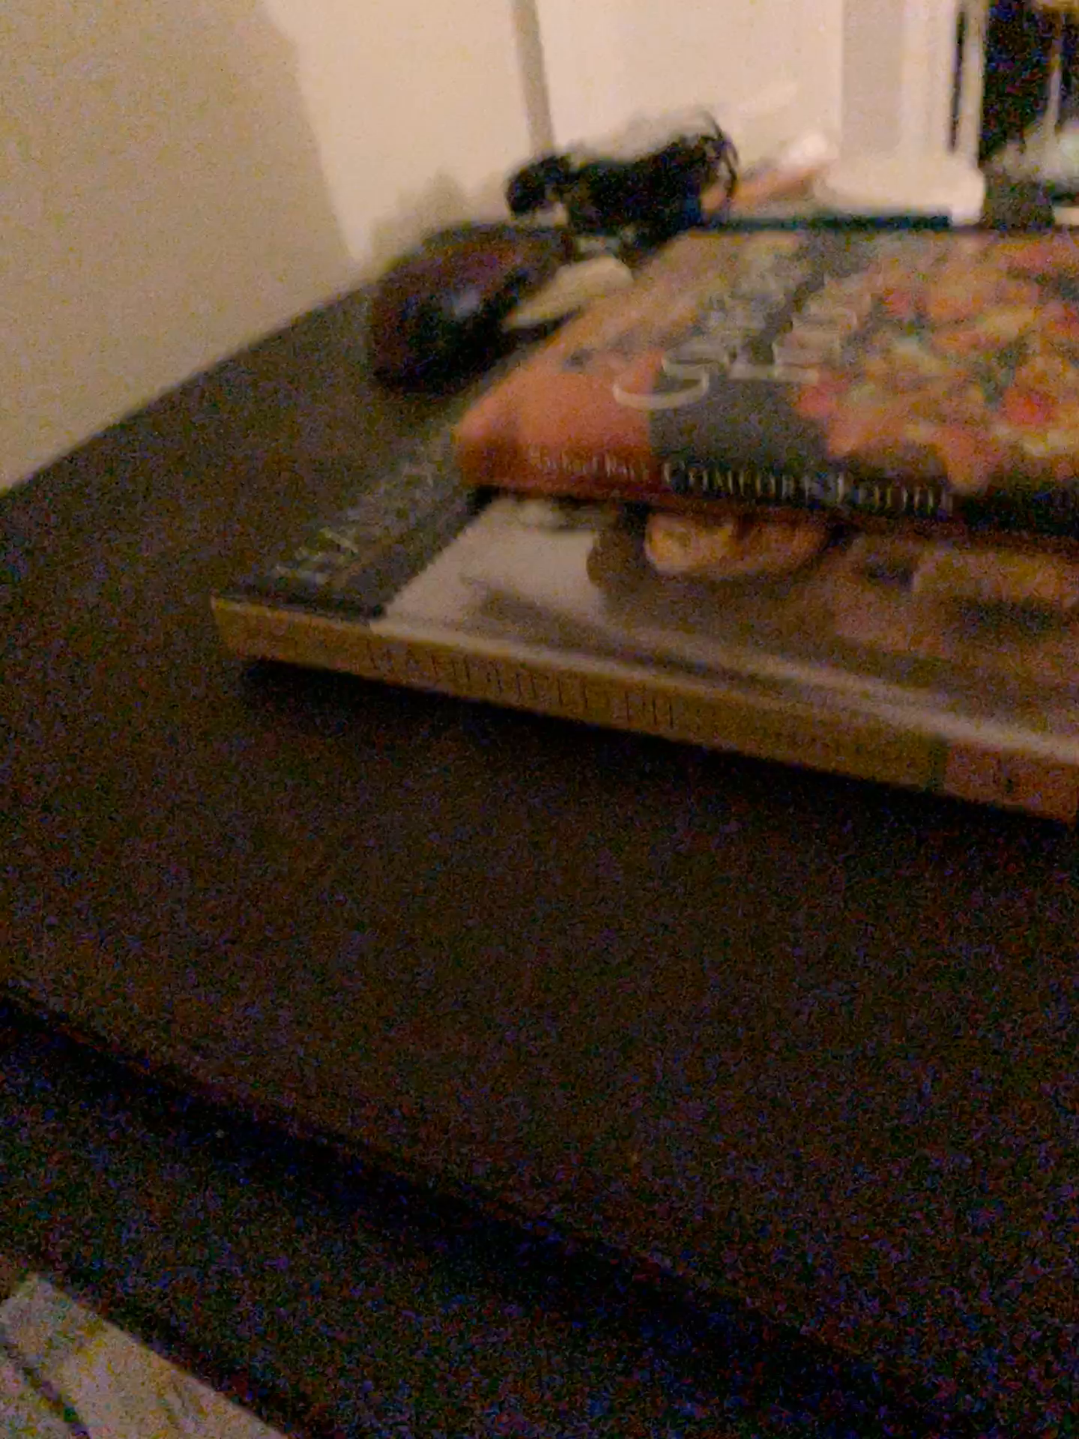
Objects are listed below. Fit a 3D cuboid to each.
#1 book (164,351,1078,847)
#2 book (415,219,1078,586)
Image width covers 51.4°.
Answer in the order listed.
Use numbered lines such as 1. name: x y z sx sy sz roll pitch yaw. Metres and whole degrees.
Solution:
1. book: 0.040 -0.056 0.313 0.221 0.020 0.181 11 42 25
2. book: 0.103 -0.114 0.348 0.211 0.020 0.201 10 41 25
